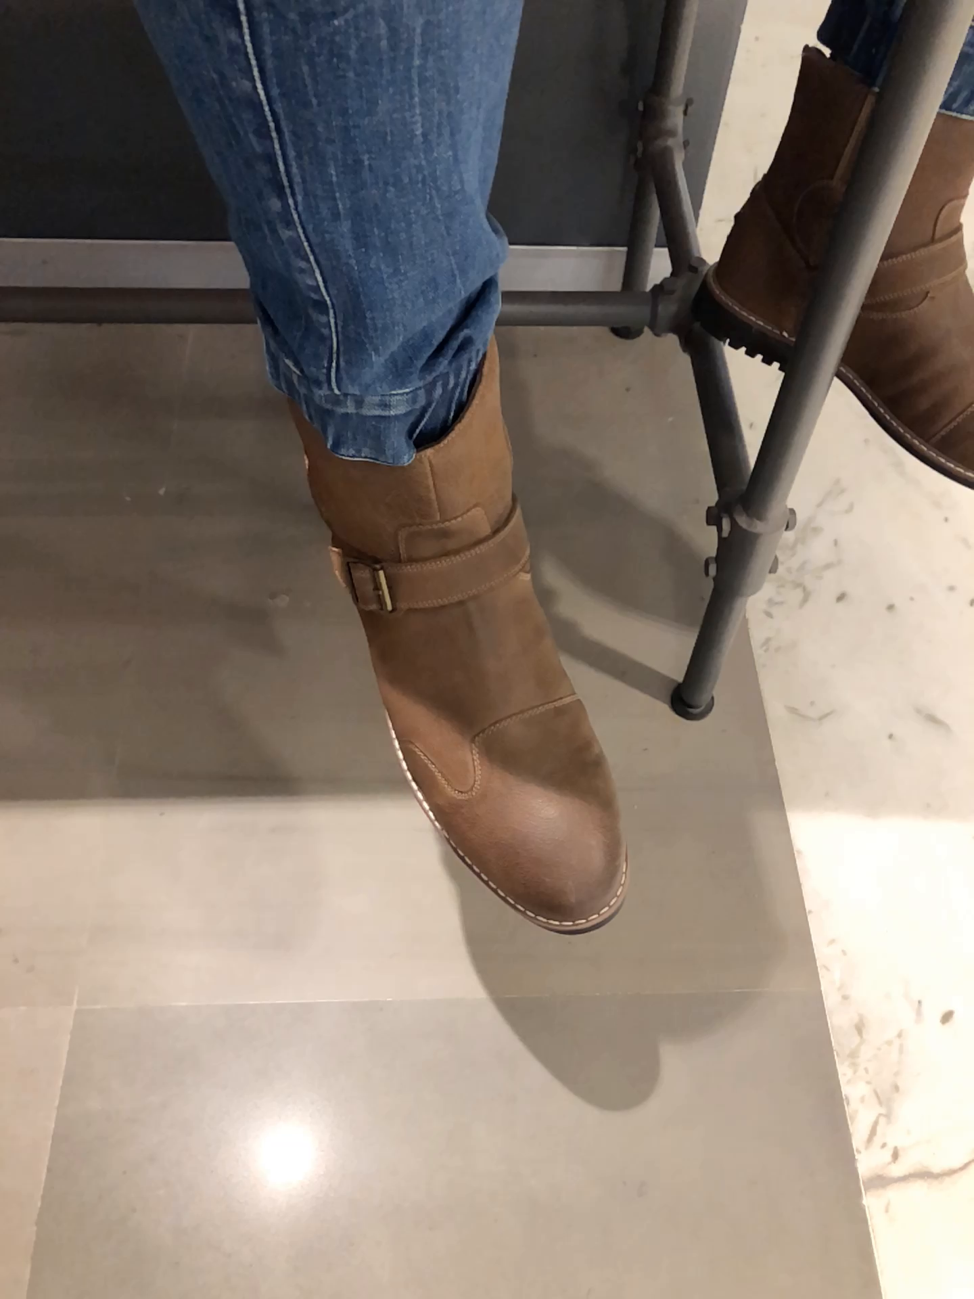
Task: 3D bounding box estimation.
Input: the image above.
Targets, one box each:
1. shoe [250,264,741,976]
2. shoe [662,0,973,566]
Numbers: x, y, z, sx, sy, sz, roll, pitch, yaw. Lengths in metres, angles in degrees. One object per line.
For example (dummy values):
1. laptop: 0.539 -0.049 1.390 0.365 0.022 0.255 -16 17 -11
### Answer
1. shoe: -0.006 -0.010 0.541 0.109 0.206 0.275 -21 61 -10
2. shoe: 0.310 -0.241 0.692 0.324 0.206 0.114 35 51 12
